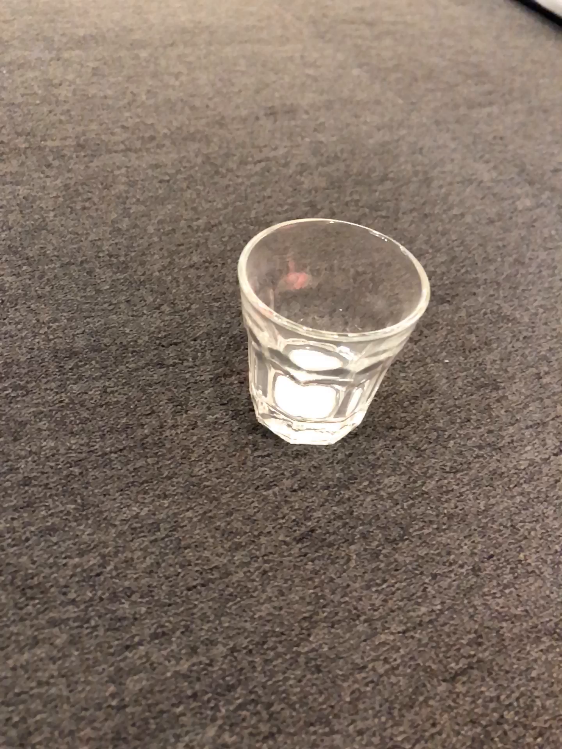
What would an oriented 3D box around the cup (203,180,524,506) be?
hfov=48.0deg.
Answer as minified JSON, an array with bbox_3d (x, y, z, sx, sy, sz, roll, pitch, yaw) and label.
[{"bbox_3d":[0.022,-0.012,0.184,0.060,0.050,0.060,6,45,-6],"label":"cup"}]
